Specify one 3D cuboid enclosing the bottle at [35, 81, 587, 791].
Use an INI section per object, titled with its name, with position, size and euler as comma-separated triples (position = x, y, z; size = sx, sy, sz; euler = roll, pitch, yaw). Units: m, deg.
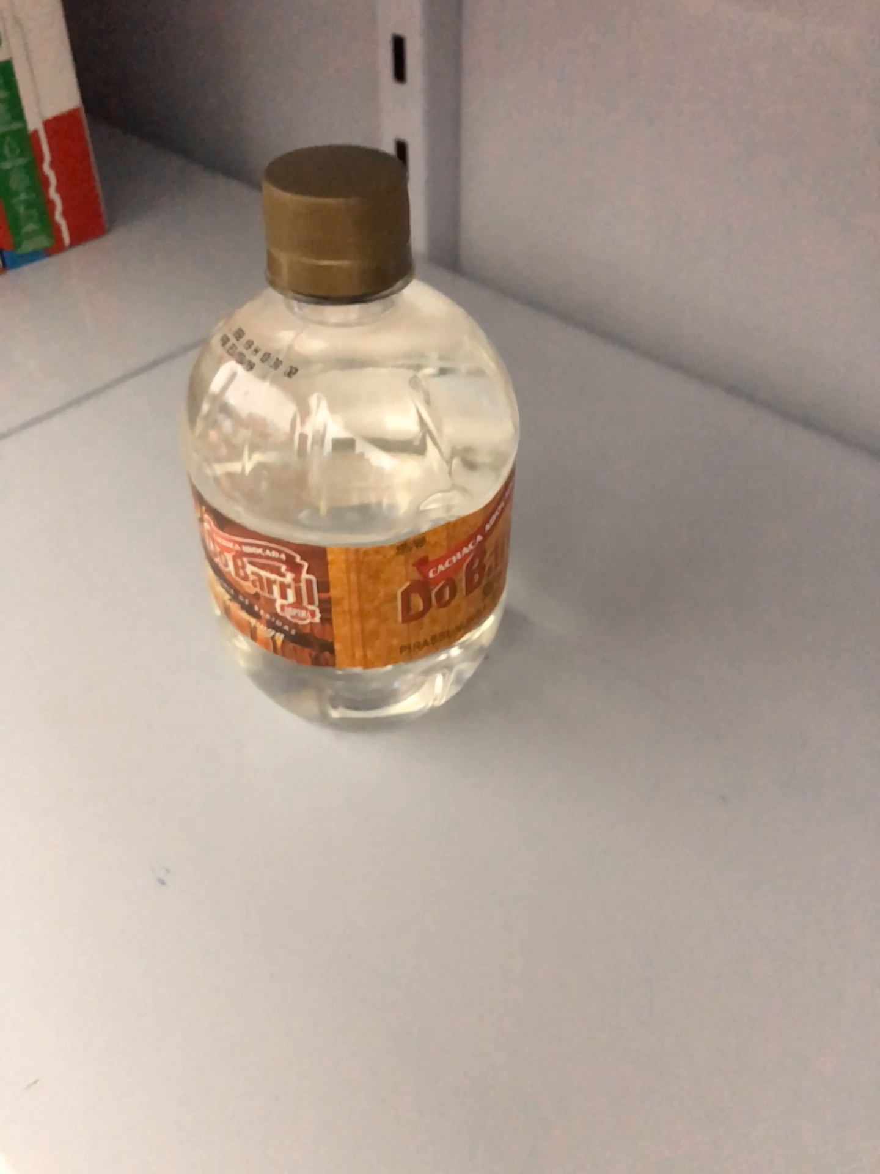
[bottle]
position = -0.024, -0.035, 0.250
size = 0.080, 0.139, 0.080
euler = 0, 44, 0
